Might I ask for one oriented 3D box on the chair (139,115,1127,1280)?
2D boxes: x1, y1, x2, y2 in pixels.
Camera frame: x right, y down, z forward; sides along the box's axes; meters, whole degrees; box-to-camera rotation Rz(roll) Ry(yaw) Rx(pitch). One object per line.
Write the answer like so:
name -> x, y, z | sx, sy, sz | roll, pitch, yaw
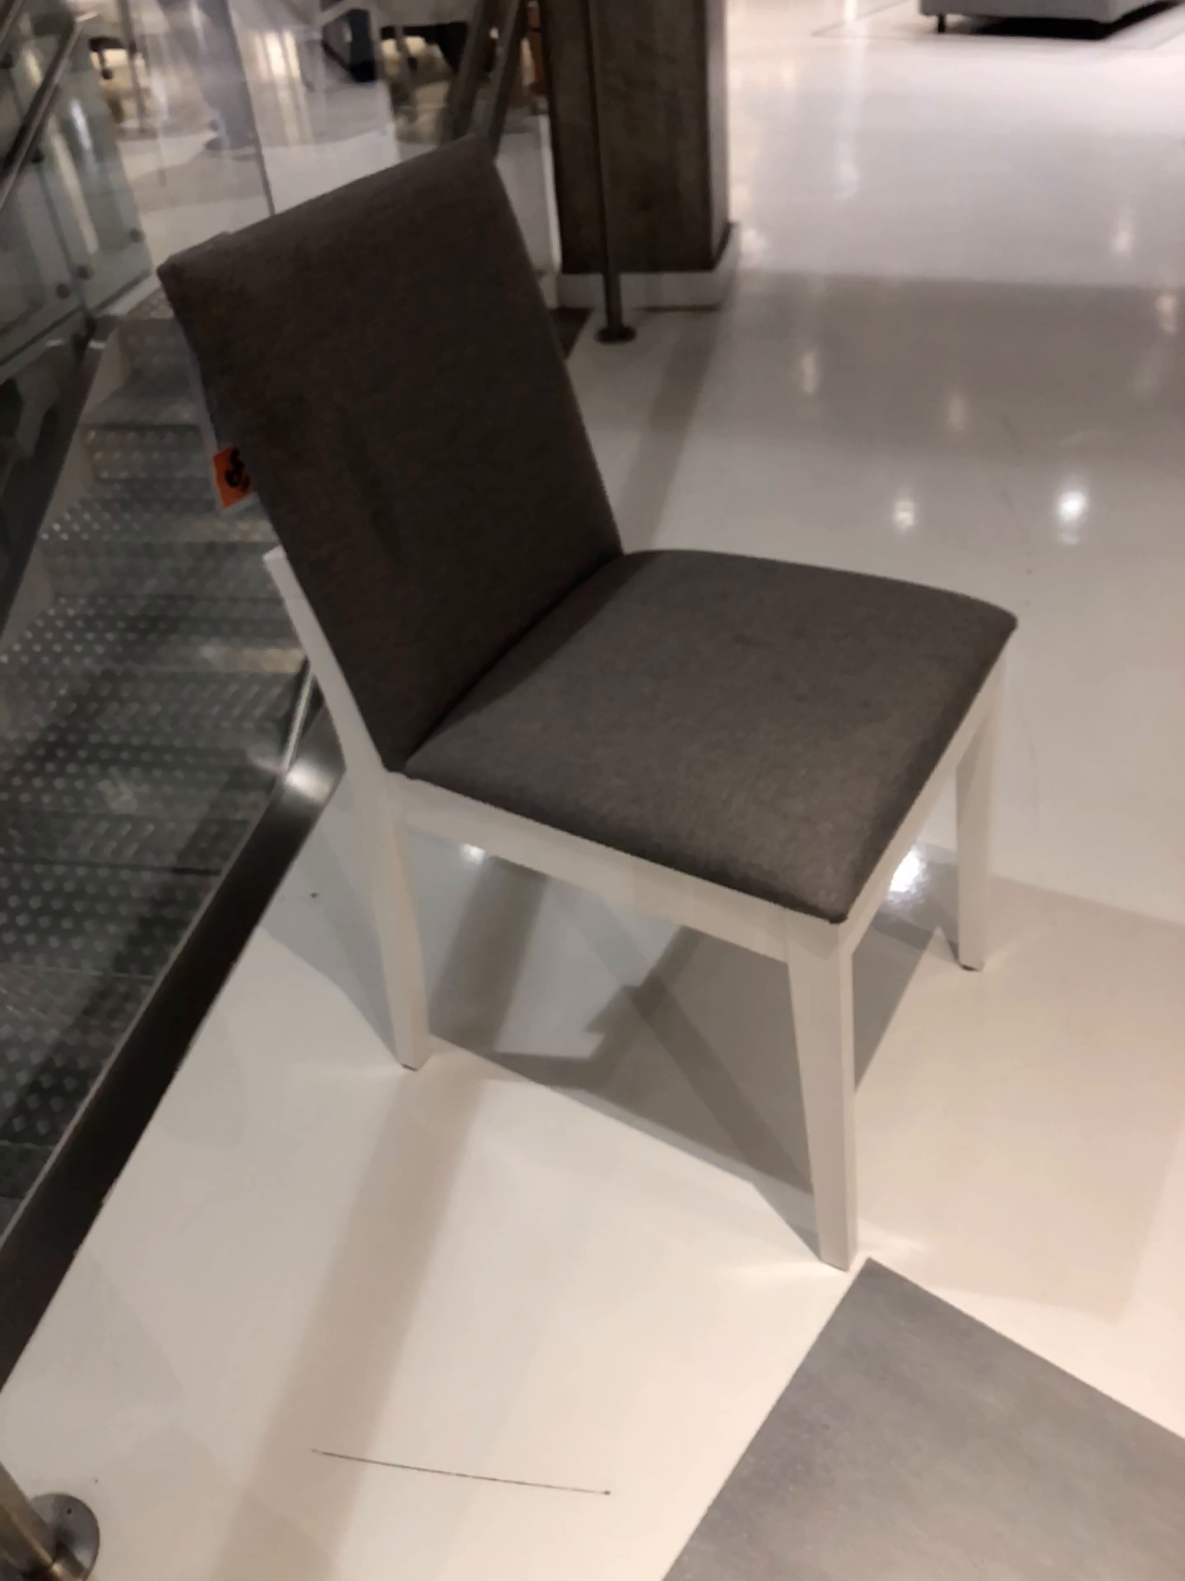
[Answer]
chair -> 0.078, -0.098, 1.214 | 0.561, 0.844, 0.483 | 16, 43, 26
